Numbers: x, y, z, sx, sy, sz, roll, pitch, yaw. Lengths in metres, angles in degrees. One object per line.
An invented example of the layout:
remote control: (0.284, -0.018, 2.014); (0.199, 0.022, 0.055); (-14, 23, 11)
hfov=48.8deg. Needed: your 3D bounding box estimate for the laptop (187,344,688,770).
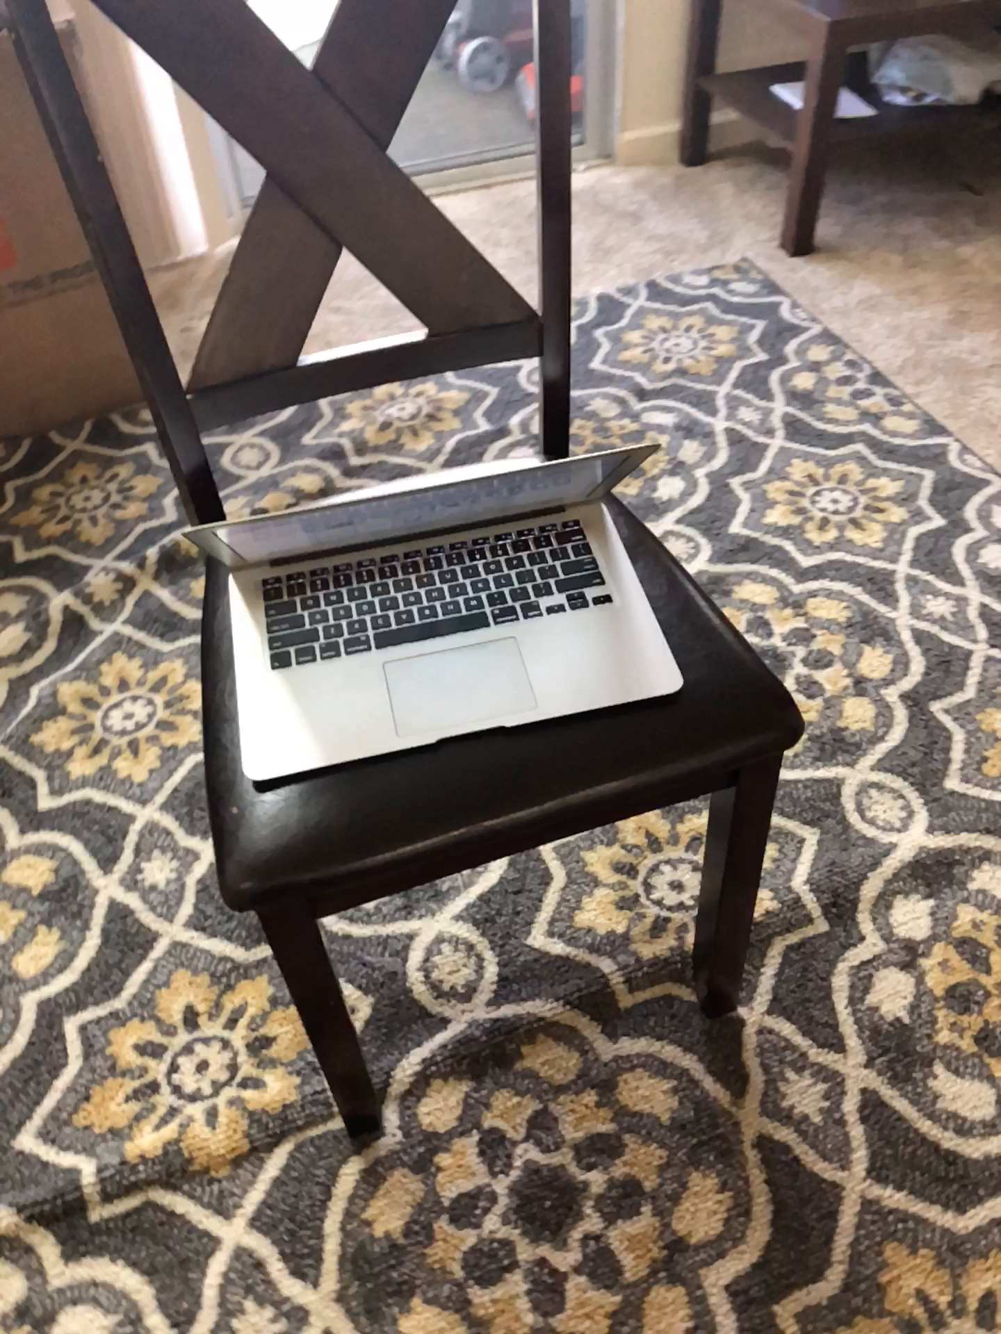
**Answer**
laptop: (-0.052, -0.087, 0.792); (0.303, 0.154, 0.216); (-11, 45, -7)
